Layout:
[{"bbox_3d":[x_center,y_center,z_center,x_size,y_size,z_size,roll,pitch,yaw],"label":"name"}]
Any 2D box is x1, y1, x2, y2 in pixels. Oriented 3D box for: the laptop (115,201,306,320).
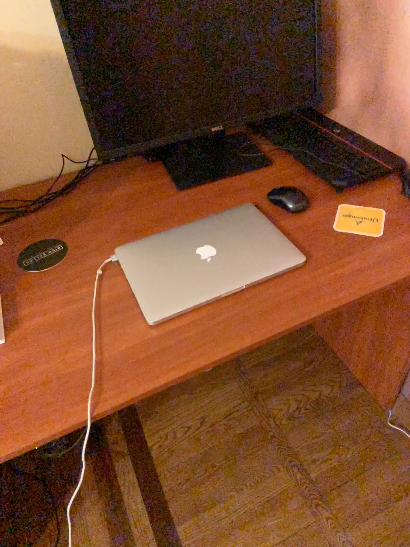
[{"bbox_3d":[0.004,-0.041,0.787,0.306,0.001,0.214,-20,46,-15],"label":"laptop"}]
